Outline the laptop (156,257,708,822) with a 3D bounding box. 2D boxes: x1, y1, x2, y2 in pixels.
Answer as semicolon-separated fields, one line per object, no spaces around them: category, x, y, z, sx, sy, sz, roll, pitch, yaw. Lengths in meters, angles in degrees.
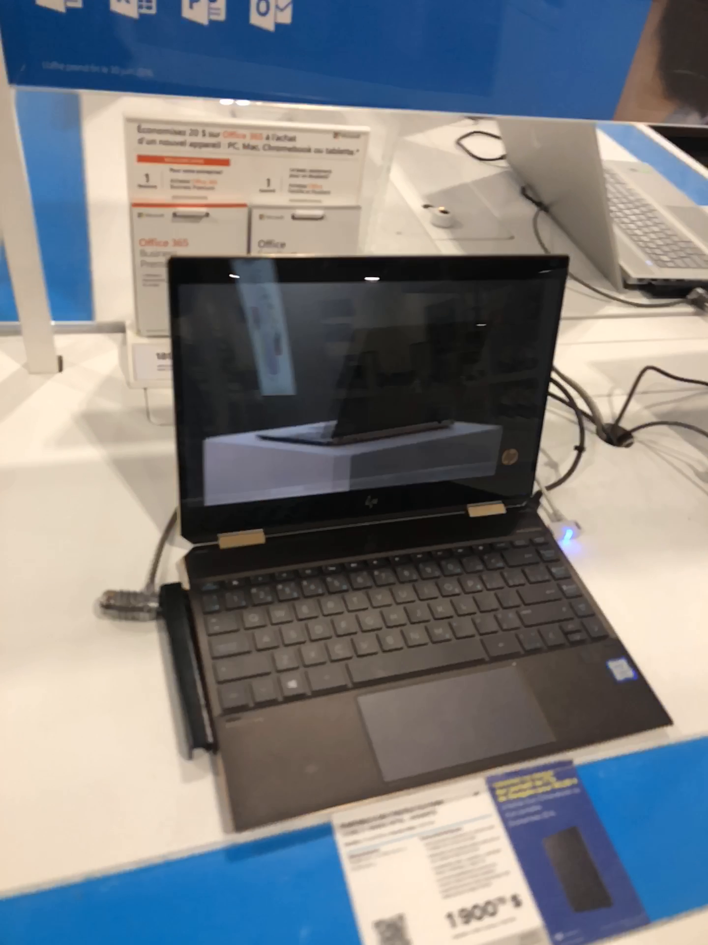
laptop;0.044;0.018;0.511;0.297;0.197;0.285;-5;44;-19
